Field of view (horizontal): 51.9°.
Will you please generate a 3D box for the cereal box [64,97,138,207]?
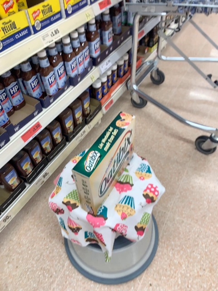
[{"bbox_3d":[-0.005,0.010,0.653,0.060,0.168,0.282,21,52,22],"label":"cereal box"}]
